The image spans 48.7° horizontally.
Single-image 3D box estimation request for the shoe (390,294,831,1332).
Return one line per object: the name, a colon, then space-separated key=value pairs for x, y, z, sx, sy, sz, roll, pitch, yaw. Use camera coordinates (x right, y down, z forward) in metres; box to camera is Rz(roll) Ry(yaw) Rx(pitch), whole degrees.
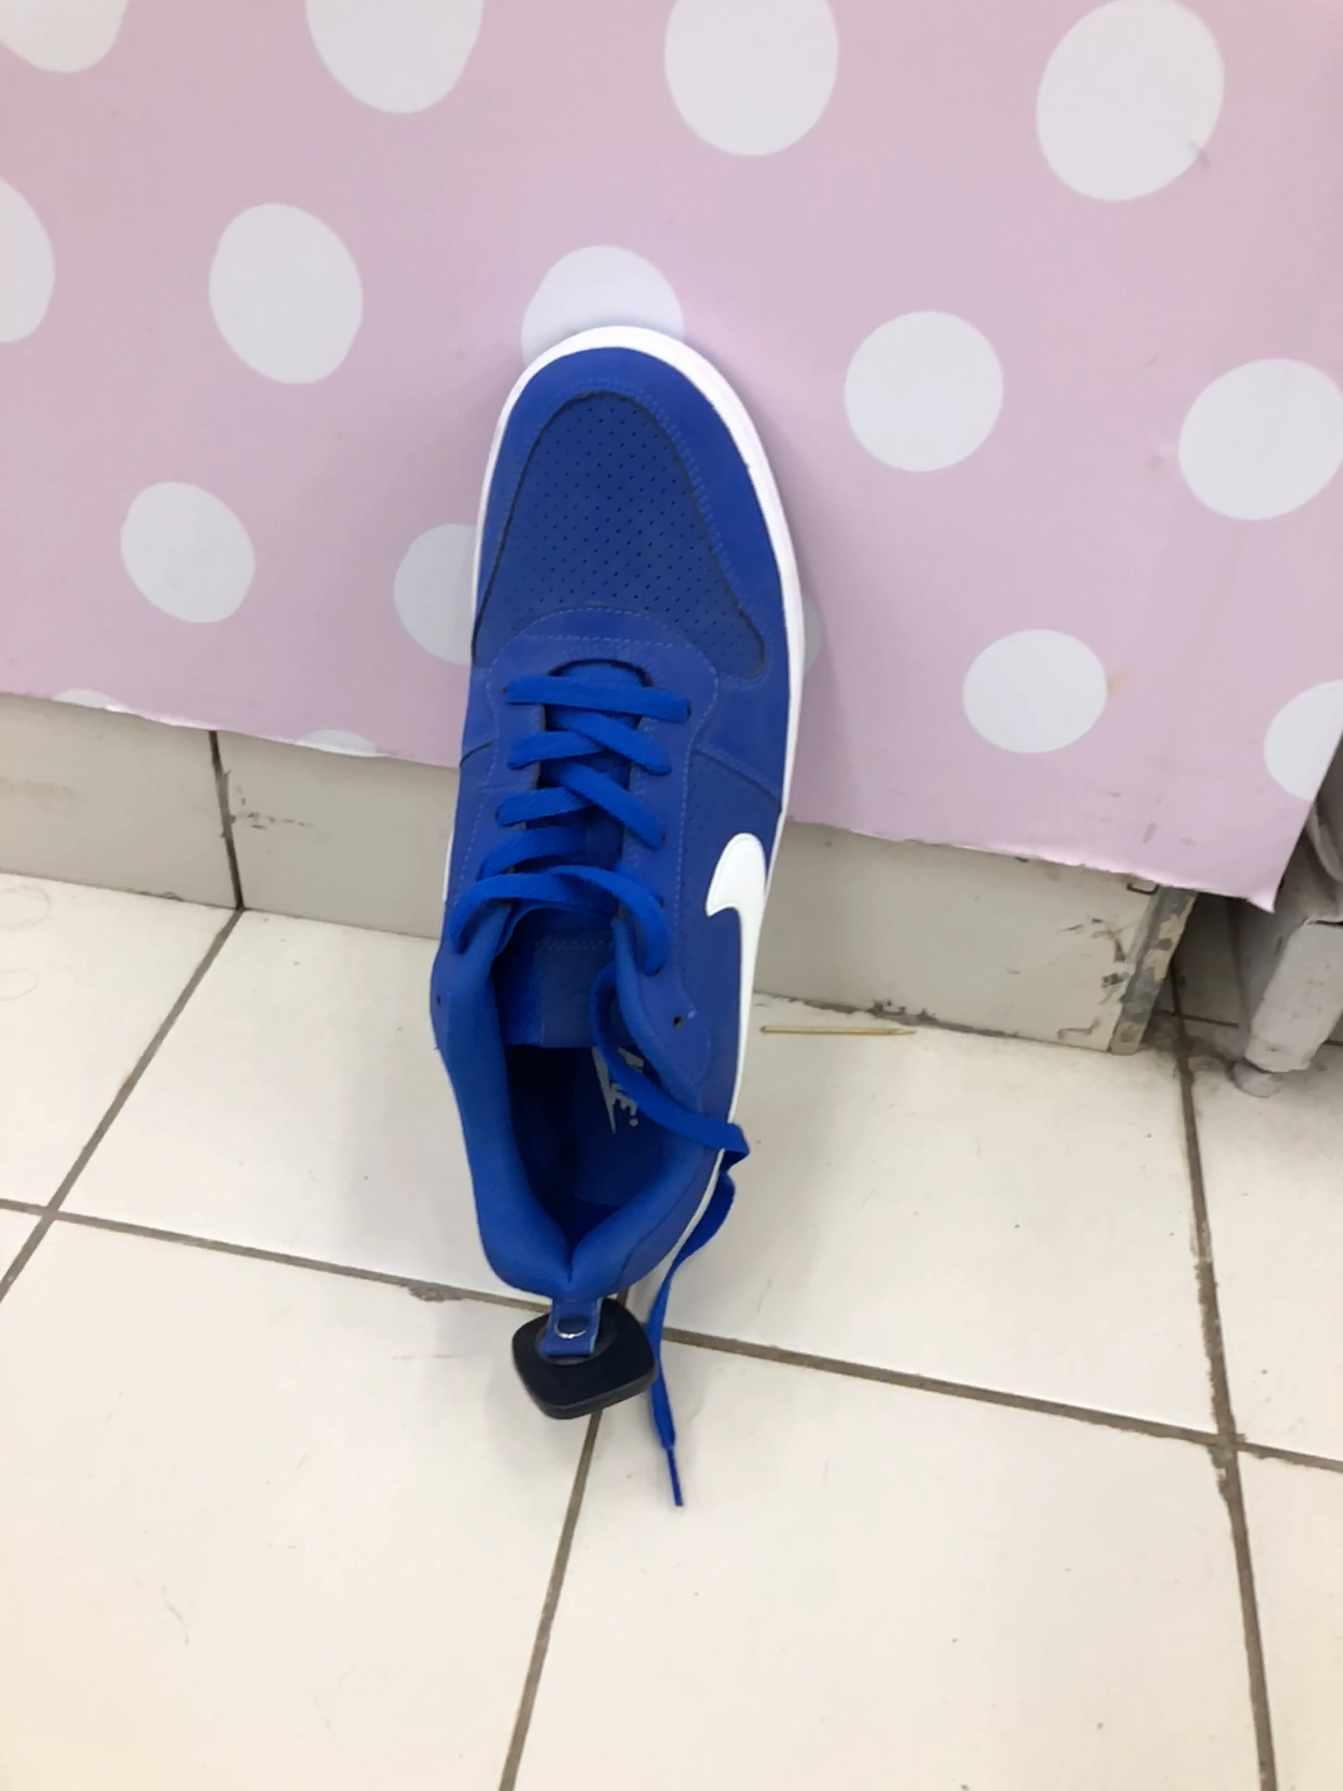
shoe: x=-0.018 y=-0.024 z=0.460 sx=0.110 sy=0.289 sz=0.080 roll=5 pitch=11 yaw=7
